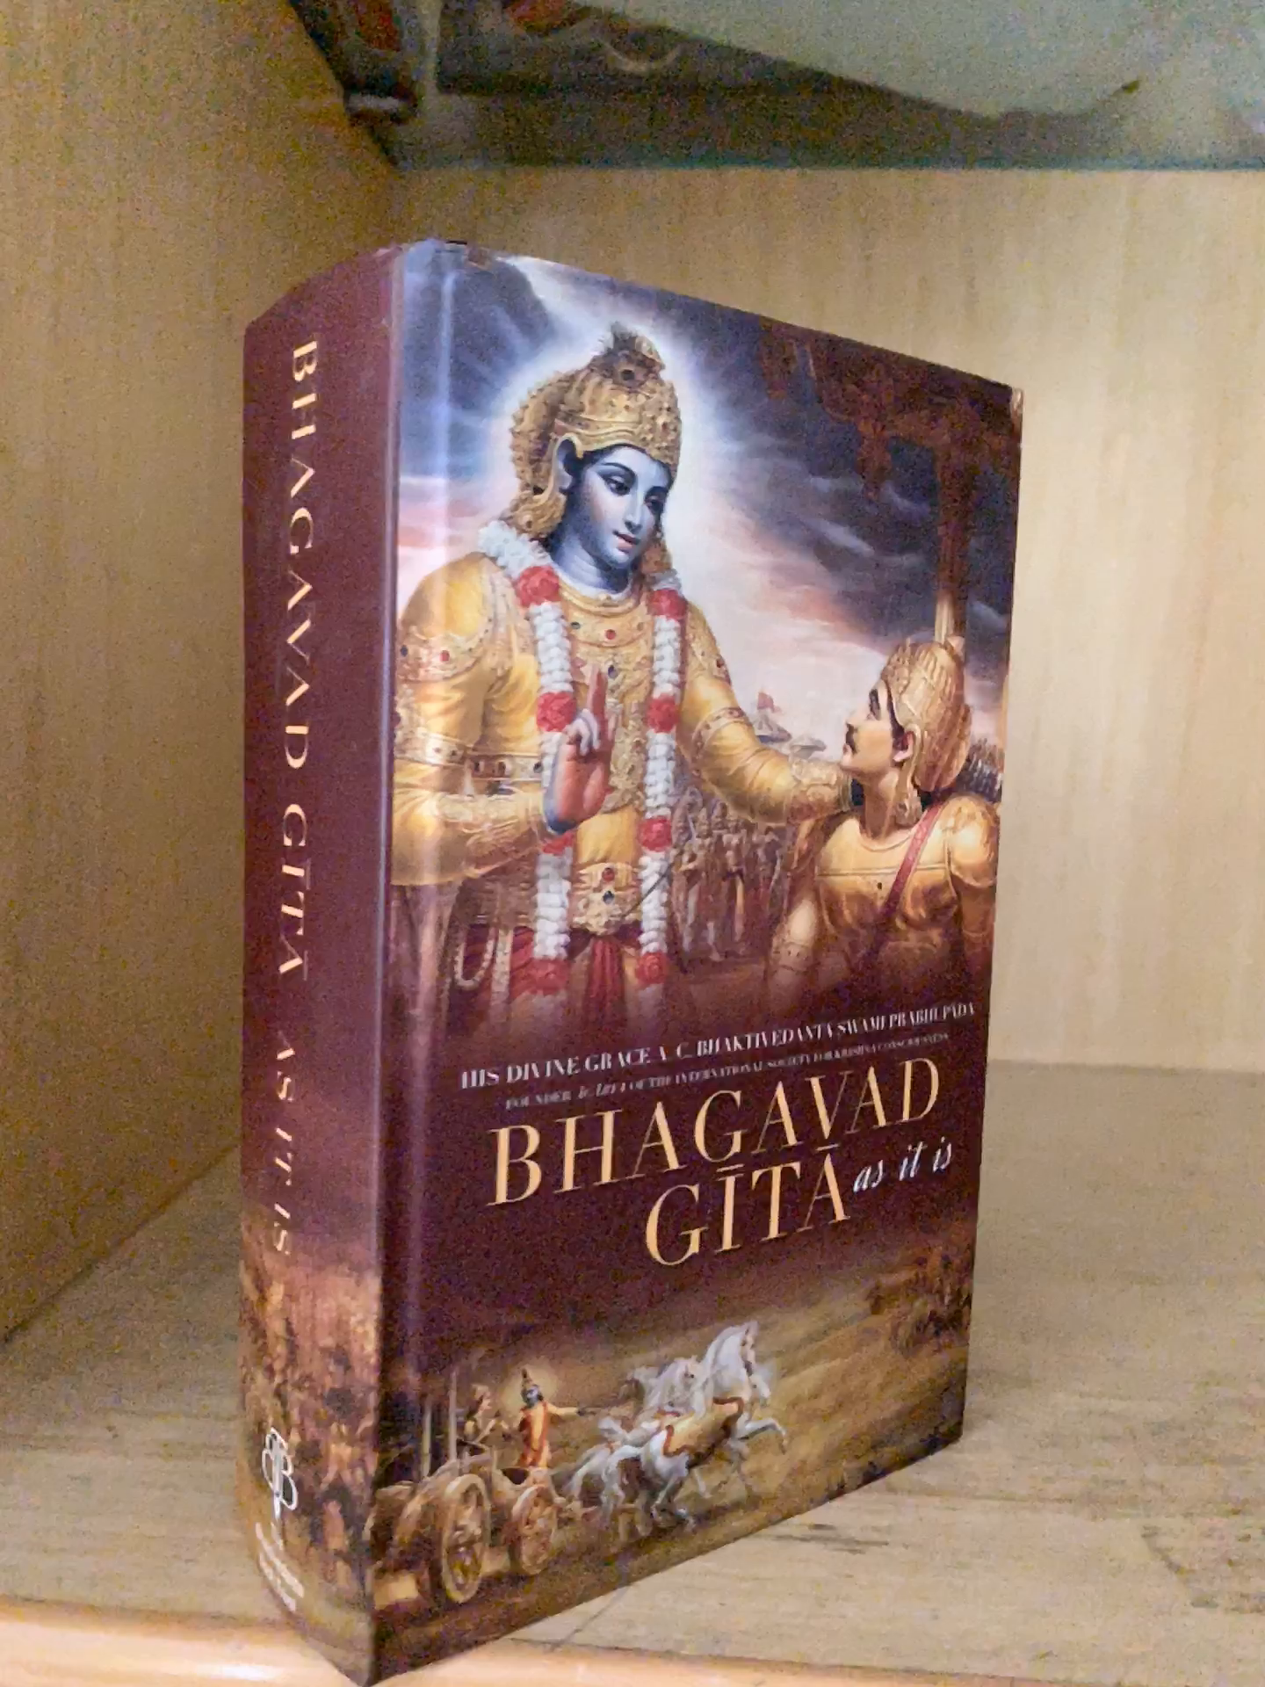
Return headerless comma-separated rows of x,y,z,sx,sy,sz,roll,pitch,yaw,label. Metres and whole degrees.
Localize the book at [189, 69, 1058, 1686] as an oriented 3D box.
0.001,0.007,0.243,0.140,0.220,0.070,-1,3,-35,book
